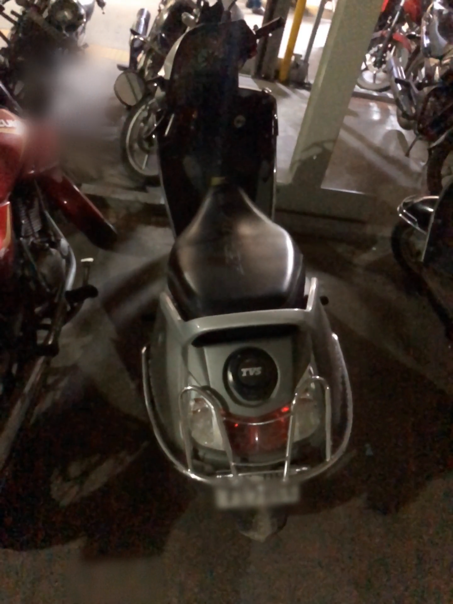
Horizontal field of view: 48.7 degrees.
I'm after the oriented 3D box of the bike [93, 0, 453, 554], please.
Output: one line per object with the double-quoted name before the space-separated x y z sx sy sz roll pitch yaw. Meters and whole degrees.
"bike" -0.037 -0.160 1.592 0.602 1.094 1.387 4 41 -11
